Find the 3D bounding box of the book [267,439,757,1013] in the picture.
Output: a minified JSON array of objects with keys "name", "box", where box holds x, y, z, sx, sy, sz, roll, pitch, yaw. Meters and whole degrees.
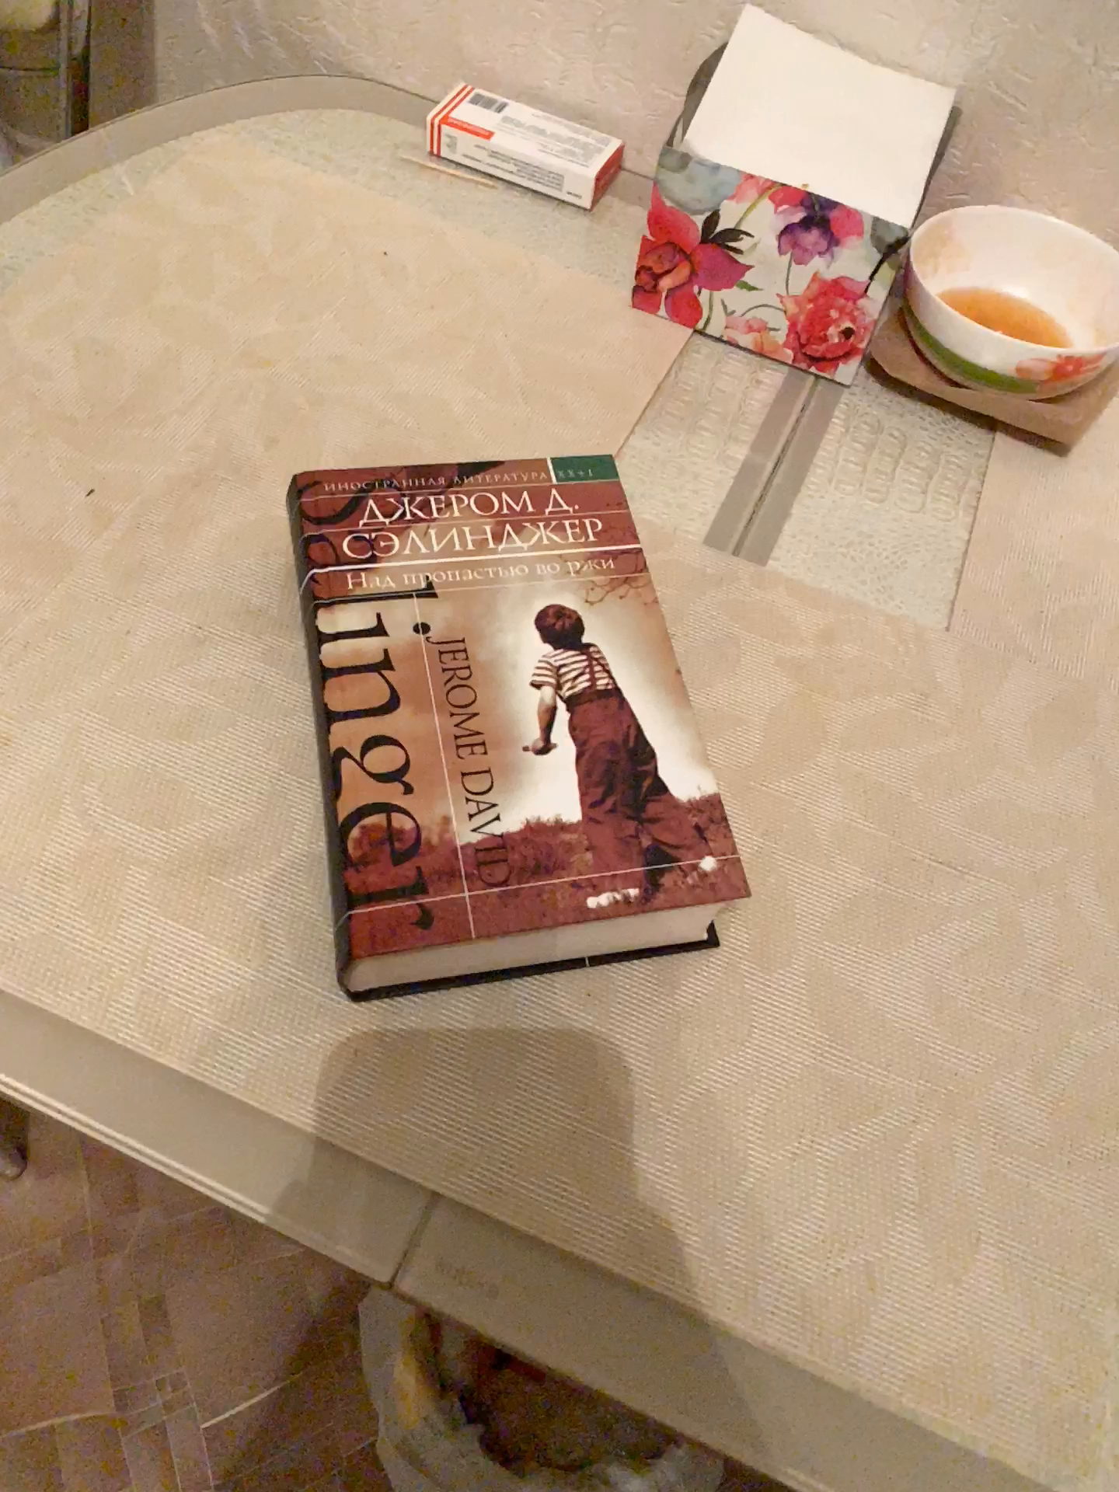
[{"name":"book","box":[-0.029,-0.020,0.452,0.150,0.049,0.221,-6,60,-12]}]
